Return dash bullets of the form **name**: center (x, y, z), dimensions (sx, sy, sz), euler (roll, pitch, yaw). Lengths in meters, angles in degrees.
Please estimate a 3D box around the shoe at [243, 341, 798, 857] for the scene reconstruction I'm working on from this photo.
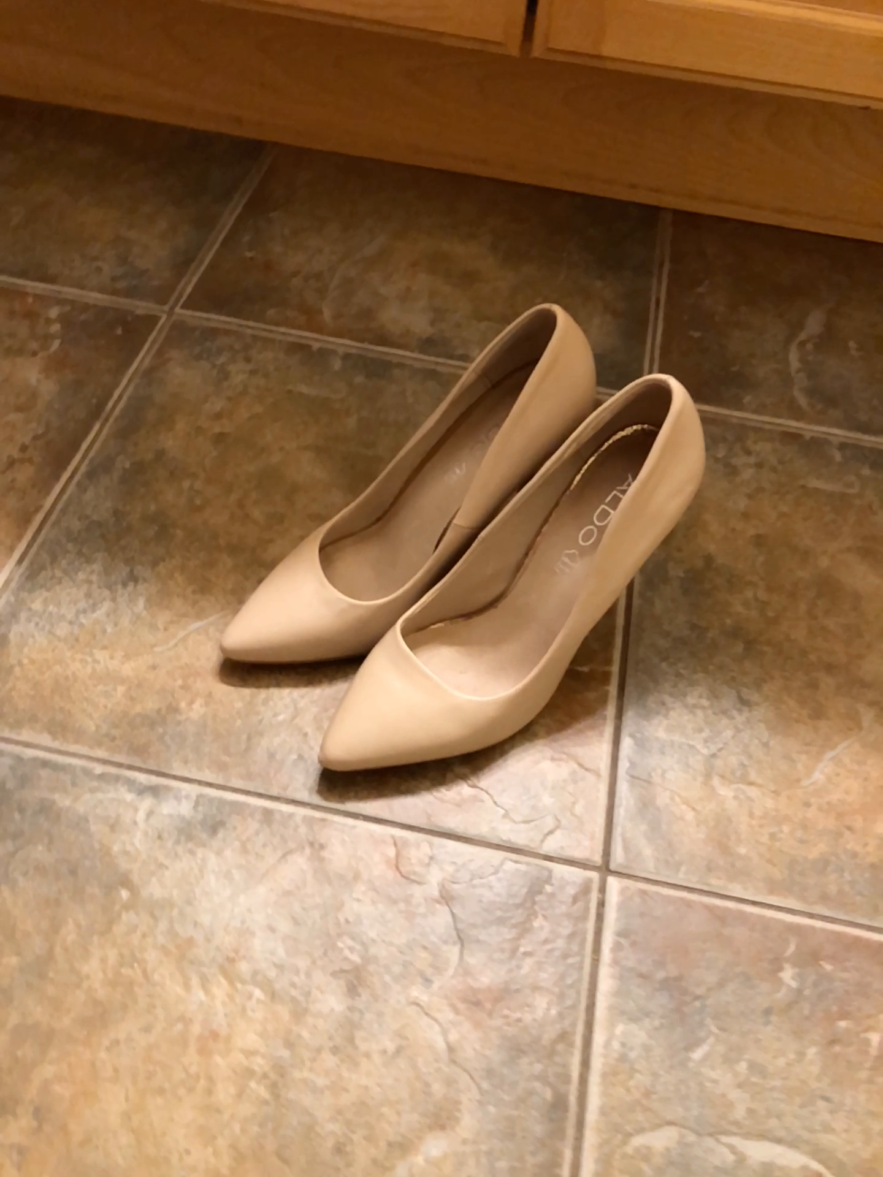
- **shoe**: center (0.036, 0.000, 0.447), dimensions (0.230, 0.129, 0.080), euler (-30, 60, -26)

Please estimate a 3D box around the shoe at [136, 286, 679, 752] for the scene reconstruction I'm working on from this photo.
- **shoe**: center (-0.014, -0.036, 0.489), dimensions (0.230, 0.149, 0.080), euler (-23, 57, -22)
